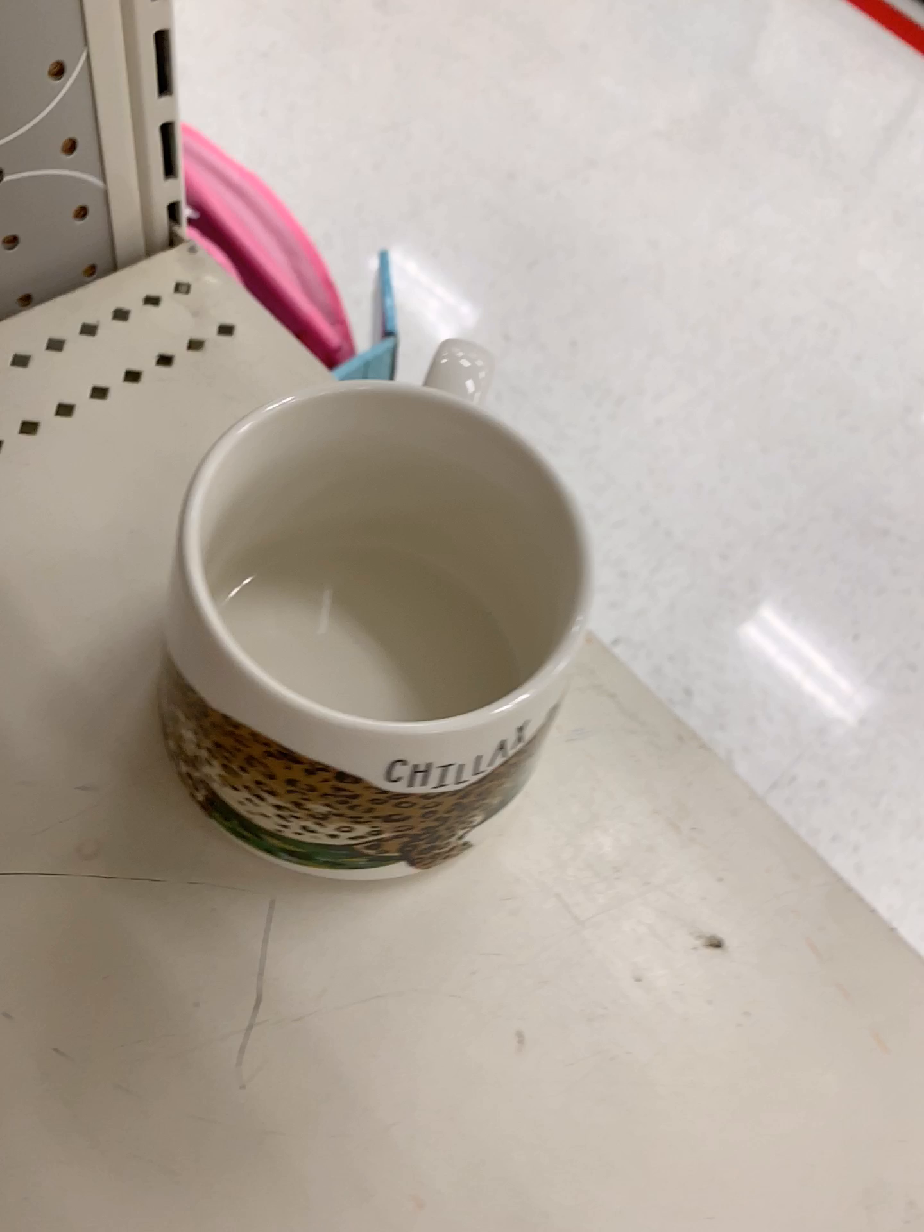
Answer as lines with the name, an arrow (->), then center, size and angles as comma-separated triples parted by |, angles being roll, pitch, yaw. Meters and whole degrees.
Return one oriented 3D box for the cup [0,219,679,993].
cup -> -0.022, 0.000, 0.237 | 0.110, 0.090, 0.140 | 16, 59, -4
